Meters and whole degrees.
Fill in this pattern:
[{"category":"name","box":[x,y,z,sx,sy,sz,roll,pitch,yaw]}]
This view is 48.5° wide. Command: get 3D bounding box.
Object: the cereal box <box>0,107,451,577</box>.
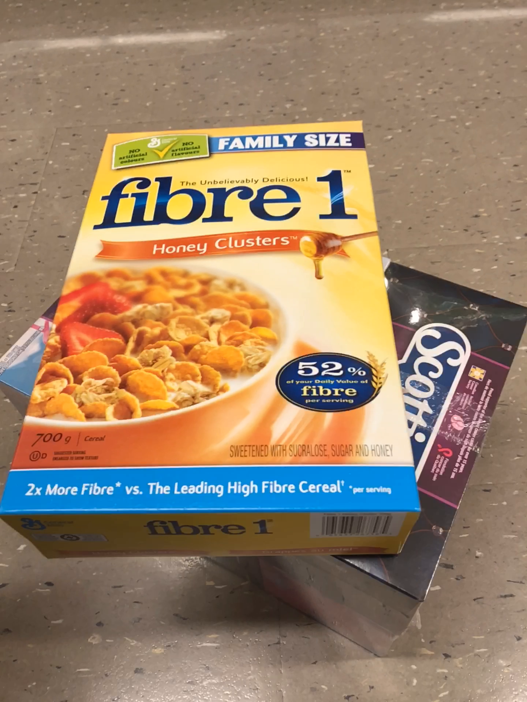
[{"category":"cereal box","box":[-0.018,-0.031,0.379,0.200,0.080,0.321,-1,52,3]}]
